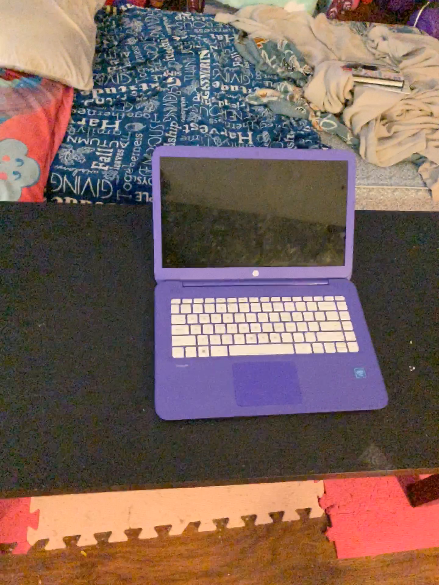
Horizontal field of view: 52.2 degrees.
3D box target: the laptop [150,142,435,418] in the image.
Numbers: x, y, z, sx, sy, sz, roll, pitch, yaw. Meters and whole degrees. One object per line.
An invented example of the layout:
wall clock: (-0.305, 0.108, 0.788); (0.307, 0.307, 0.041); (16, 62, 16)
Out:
laptop: (0.069, -0.036, 0.679); (0.340, 0.132, 0.398); (-1, 58, -7)
